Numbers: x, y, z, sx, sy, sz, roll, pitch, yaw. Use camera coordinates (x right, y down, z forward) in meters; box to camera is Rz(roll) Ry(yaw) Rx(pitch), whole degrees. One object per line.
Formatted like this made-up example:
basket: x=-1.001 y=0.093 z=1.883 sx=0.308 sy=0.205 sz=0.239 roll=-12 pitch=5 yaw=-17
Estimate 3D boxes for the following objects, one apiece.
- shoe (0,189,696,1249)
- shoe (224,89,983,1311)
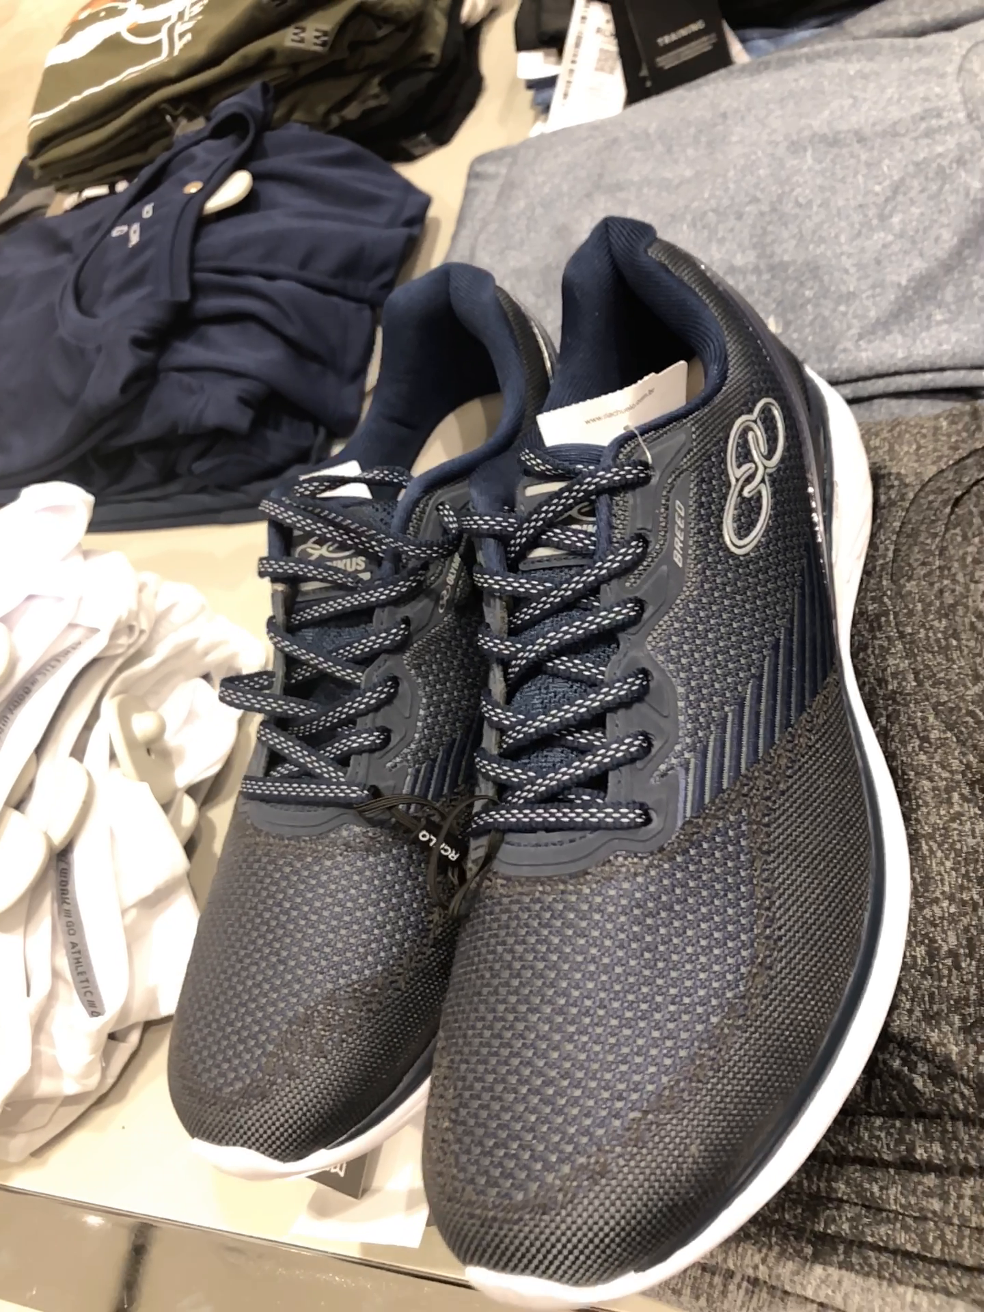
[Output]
shoe: x=-0.031 y=0.012 z=0.357 sx=0.120 sy=0.129 sz=0.291 roll=0 pitch=61 yaw=28
shoe: x=0.052 y=0.016 z=0.302 sx=0.120 sy=0.129 sz=0.291 roll=-15 pitch=53 yaw=38
